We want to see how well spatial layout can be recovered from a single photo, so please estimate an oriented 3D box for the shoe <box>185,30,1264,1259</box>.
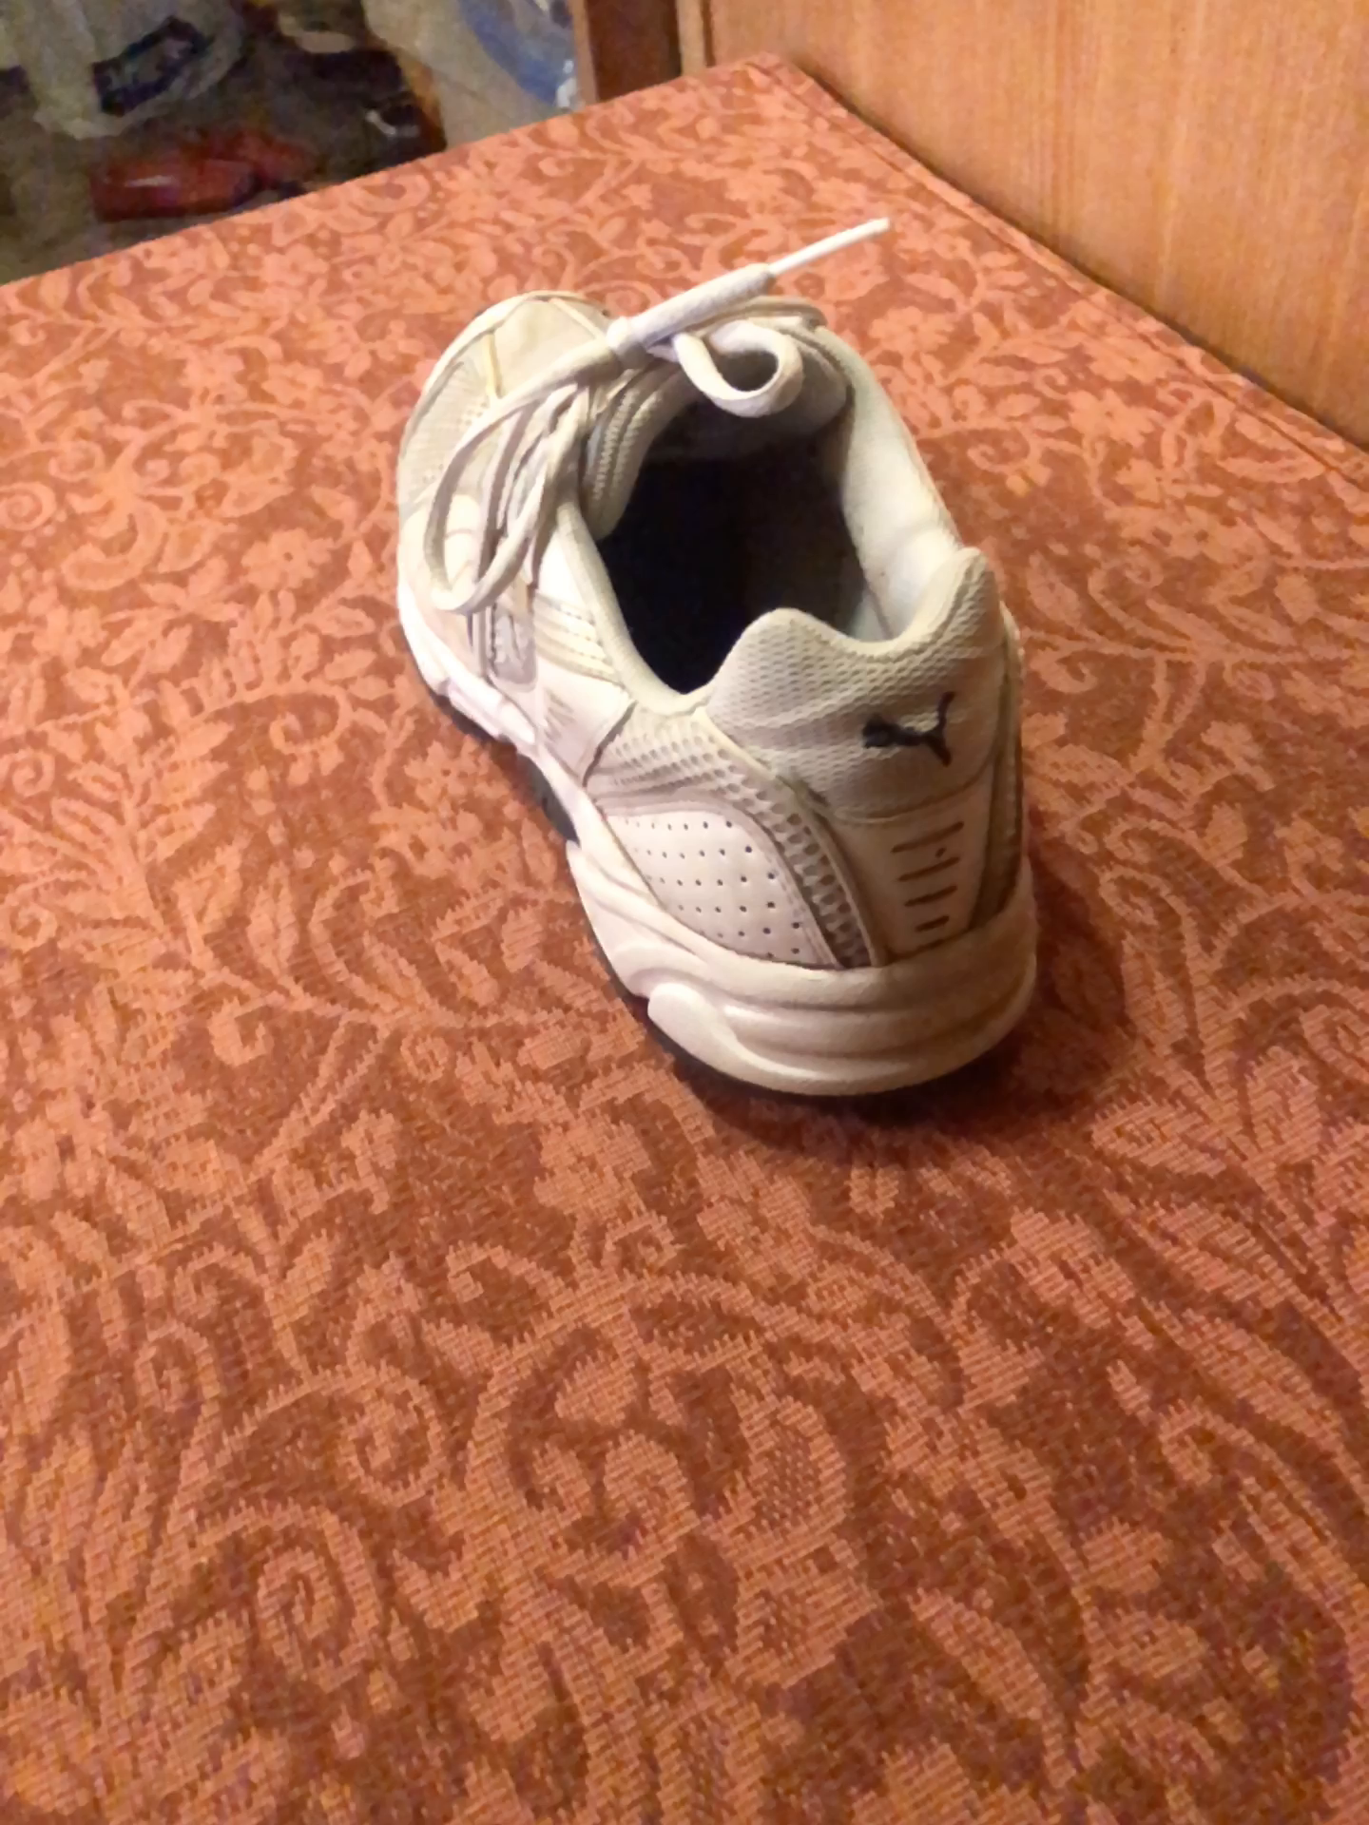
[{"bbox_3d":[-0.018,-0.088,0.340,0.120,0.100,0.291,-19,48,-9],"label":"shoe"}]
